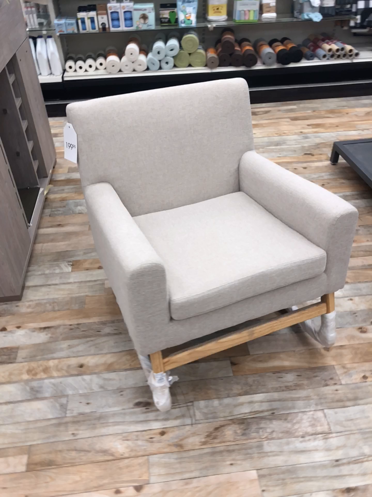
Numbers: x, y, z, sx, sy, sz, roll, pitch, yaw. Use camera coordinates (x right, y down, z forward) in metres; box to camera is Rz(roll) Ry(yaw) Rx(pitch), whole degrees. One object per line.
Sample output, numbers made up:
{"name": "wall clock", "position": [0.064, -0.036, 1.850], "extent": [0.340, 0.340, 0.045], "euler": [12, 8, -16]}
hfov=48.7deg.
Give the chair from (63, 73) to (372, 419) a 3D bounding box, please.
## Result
{"name": "chair", "position": [0.072, -0.069, 1.366], "extent": [0.700, 0.707, 0.743], "euler": [-14, 41, -16]}
